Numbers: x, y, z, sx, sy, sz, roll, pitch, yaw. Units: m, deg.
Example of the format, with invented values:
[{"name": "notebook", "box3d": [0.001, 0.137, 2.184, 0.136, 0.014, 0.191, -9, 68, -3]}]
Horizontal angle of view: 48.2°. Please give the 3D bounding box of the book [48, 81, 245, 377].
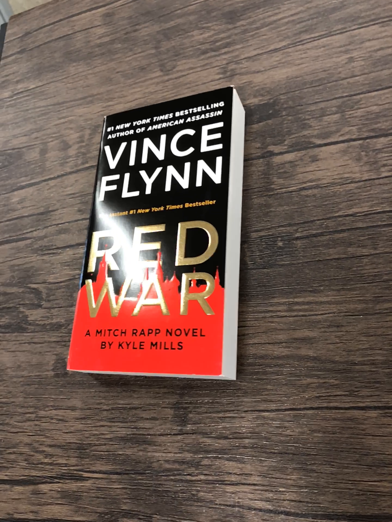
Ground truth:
[{"name": "book", "box3d": [-0.027, -0.021, 0.287, 0.110, 0.030, 0.183, -5, 69, 22]}]
